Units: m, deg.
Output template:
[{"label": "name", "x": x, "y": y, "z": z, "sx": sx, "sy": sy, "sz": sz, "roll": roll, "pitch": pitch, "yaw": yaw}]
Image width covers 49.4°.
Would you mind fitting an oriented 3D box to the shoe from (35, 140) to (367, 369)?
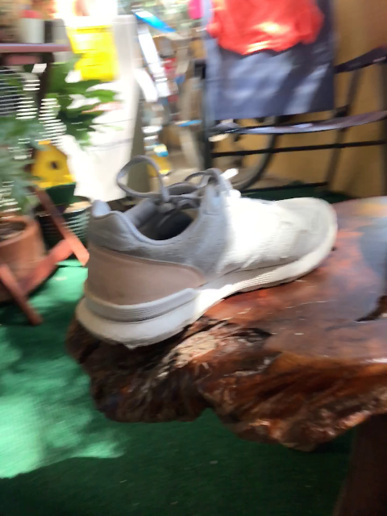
[{"label": "shoe", "x": 0.019, "y": -0.025, "z": 0.367, "sx": 0.264, "sy": 0.091, "sz": 0.102, "roll": -22, "pitch": 29, "yaw": -27}]
